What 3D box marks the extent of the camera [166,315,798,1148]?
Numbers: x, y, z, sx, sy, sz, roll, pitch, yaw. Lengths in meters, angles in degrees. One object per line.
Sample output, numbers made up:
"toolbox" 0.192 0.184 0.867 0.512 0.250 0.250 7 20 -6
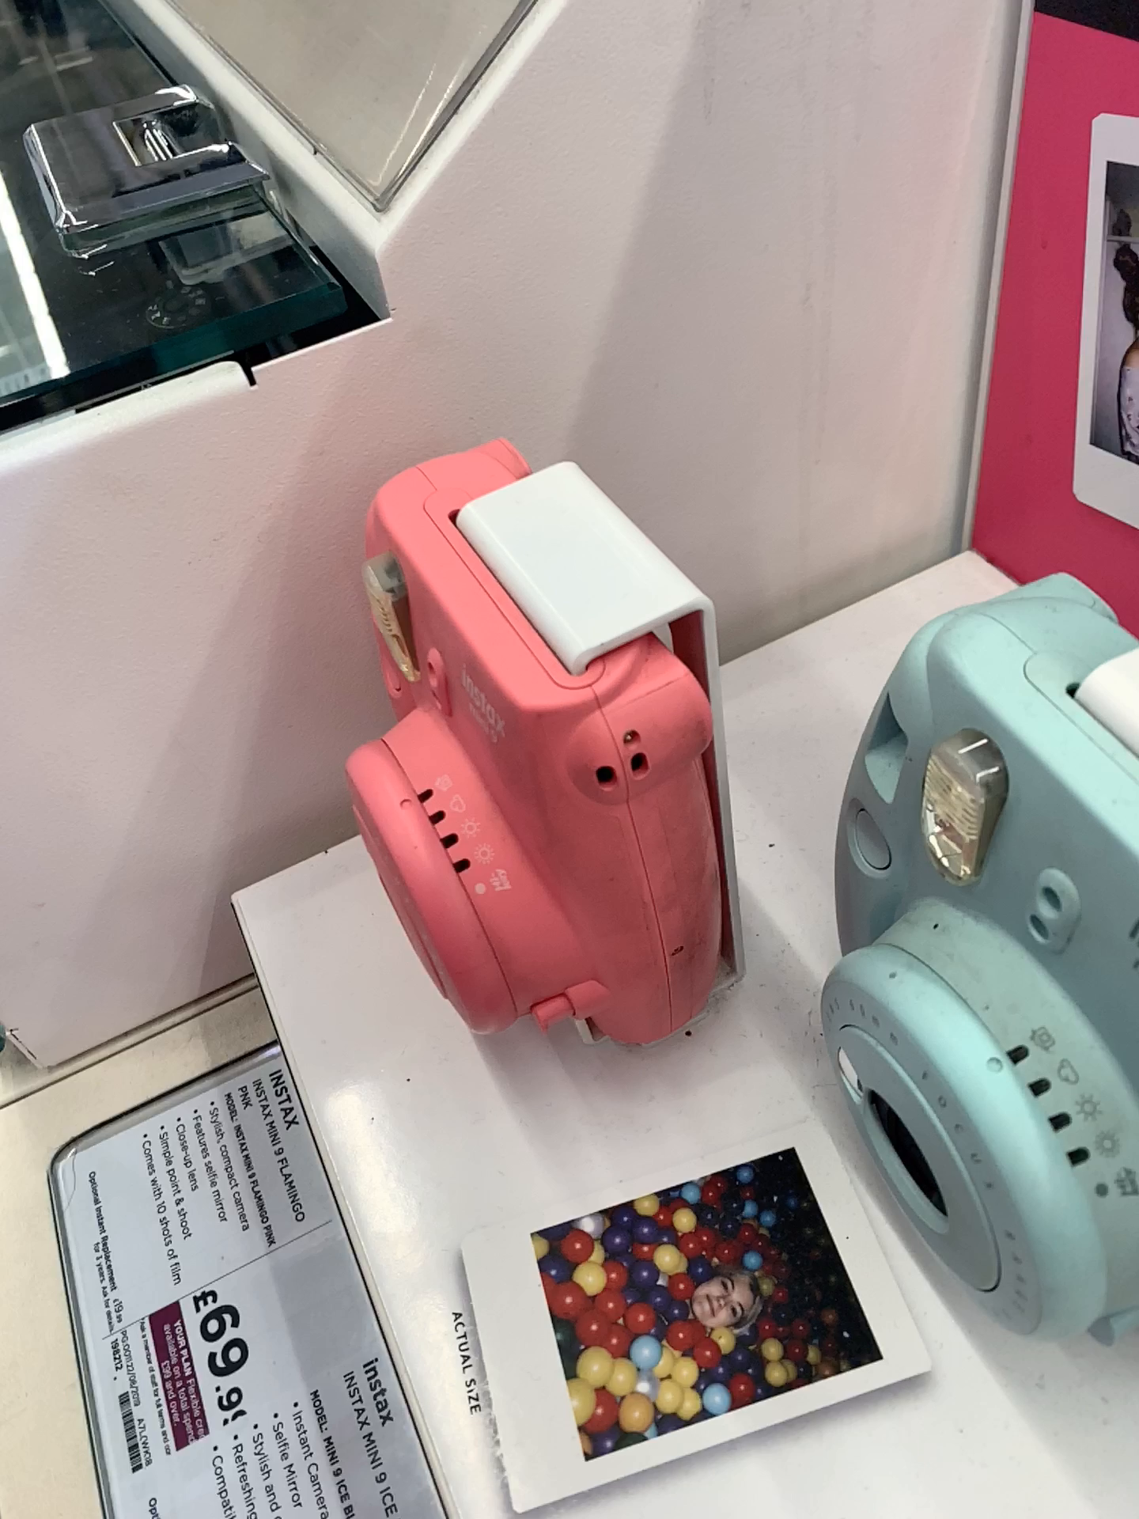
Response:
"camera" -0.017 -0.008 0.265 0.080 0.119 0.121 -25 48 -11
